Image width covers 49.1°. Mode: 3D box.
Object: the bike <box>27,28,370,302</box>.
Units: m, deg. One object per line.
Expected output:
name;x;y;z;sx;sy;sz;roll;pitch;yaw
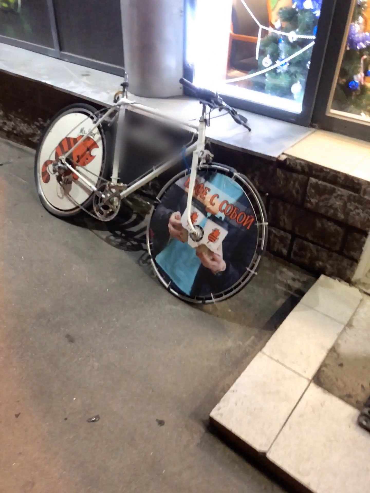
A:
bike;-0.038;-0.537;2.154;1.589;0.916;0.571;28;44;32
